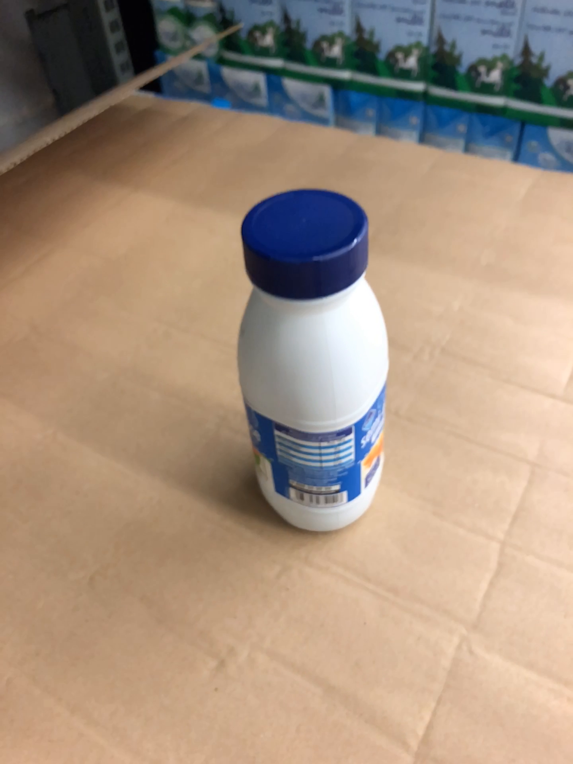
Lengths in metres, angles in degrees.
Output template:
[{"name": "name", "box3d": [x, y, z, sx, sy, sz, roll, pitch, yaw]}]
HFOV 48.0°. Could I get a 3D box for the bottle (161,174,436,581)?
[{"name": "bottle", "box3d": [0.013, 0.006, 0.299, 0.080, 0.169, 0.081, -2, 47, 3]}]
